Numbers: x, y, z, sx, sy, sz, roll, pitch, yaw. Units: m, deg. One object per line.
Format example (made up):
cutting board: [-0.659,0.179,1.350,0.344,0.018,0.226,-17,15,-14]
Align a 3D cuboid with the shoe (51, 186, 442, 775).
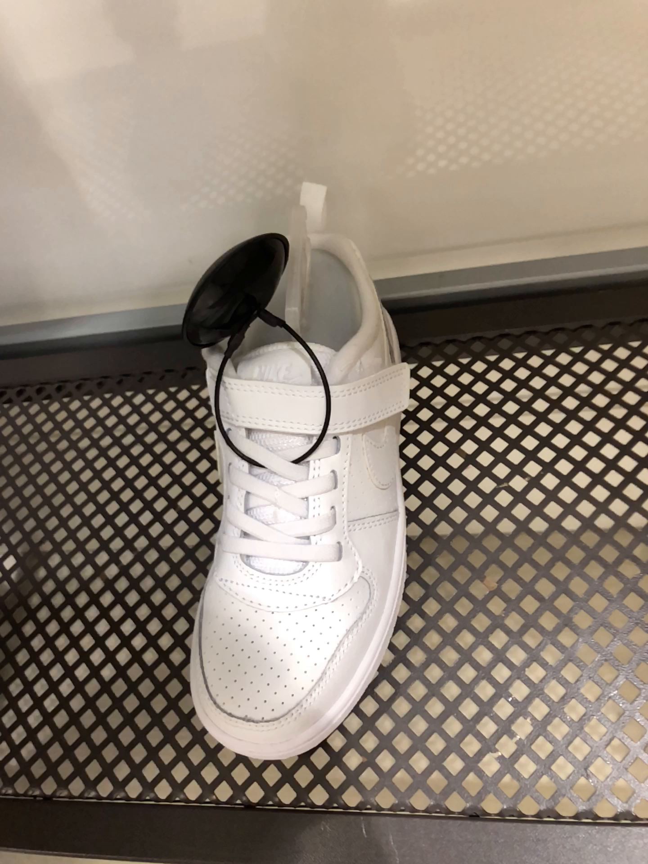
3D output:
shoe: [-0.009,0.013,0.286,0.080,0.100,0.201,3,59,17]
